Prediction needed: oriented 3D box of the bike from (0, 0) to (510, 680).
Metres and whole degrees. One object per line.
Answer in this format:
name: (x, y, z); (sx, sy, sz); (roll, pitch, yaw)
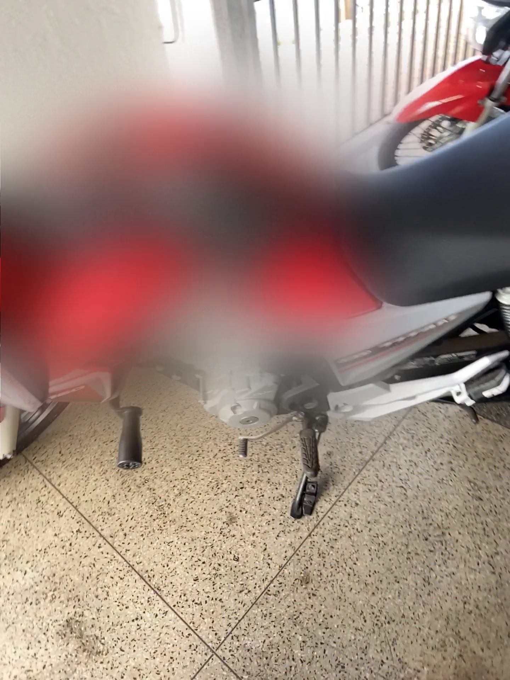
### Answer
bike: (0.043, 0.065, 0.994); (1.990, 1.422, 0.872); (-14, 40, -2)
